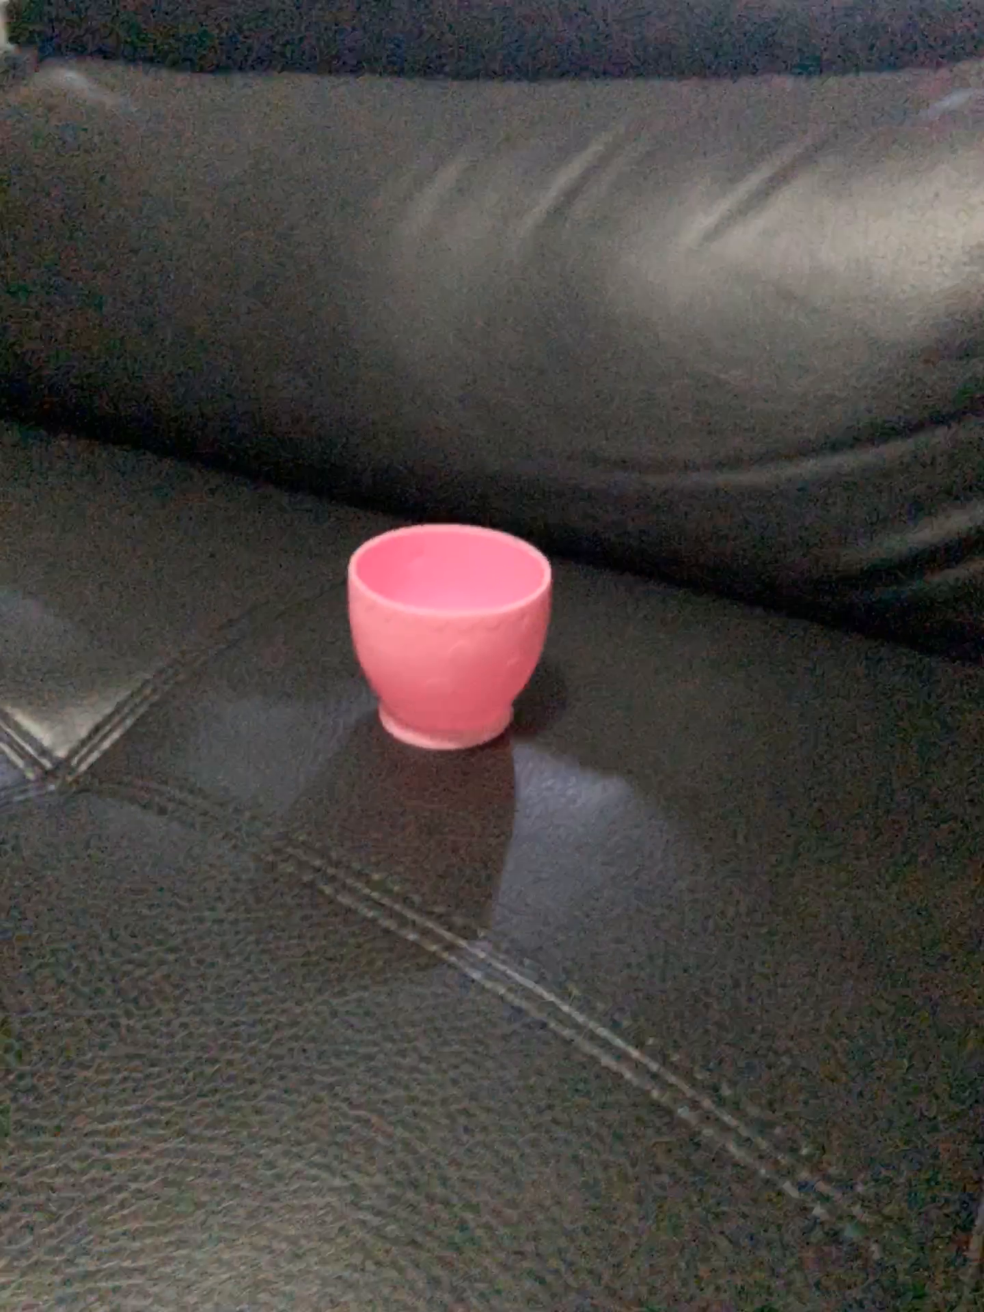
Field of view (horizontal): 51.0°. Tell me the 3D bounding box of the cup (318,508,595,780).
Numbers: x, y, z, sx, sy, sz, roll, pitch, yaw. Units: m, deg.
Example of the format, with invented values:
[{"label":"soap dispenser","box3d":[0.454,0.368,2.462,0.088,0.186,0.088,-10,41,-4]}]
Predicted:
[{"label":"cup","box3d":[-0.014,-0.008,0.312,0.060,0.045,0.078,-9,29,-17]}]
